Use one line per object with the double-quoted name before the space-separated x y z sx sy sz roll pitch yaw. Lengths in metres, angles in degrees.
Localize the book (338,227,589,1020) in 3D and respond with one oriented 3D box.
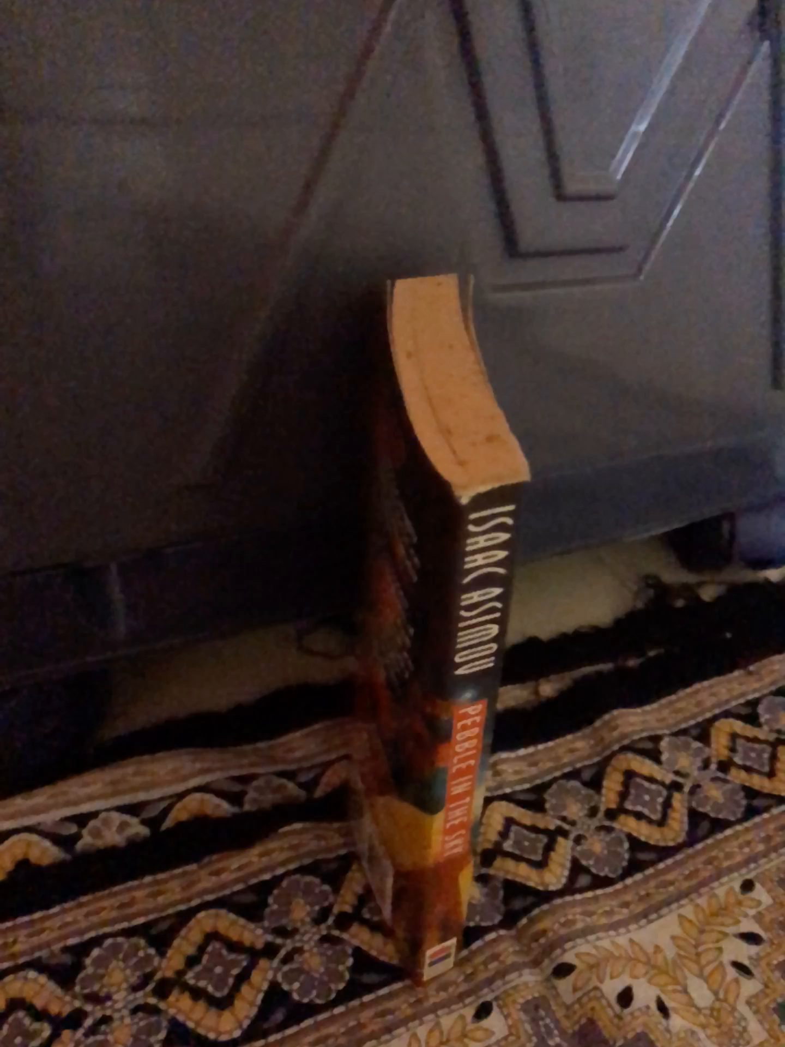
"book" 0.006 0.025 0.272 0.030 0.189 0.151 -3 33 -9
